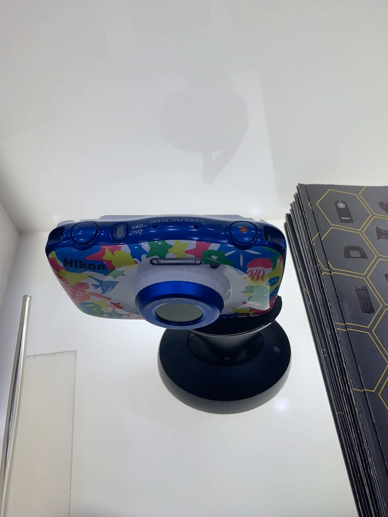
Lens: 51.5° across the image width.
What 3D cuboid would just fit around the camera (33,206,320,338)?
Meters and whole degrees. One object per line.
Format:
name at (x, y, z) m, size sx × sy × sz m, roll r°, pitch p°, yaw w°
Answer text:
camera at (-0.007, 0.009, 0.204) m, size 0.120 × 0.060 × 0.040 m, roll 0°, pitch 56°, yaw 2°
